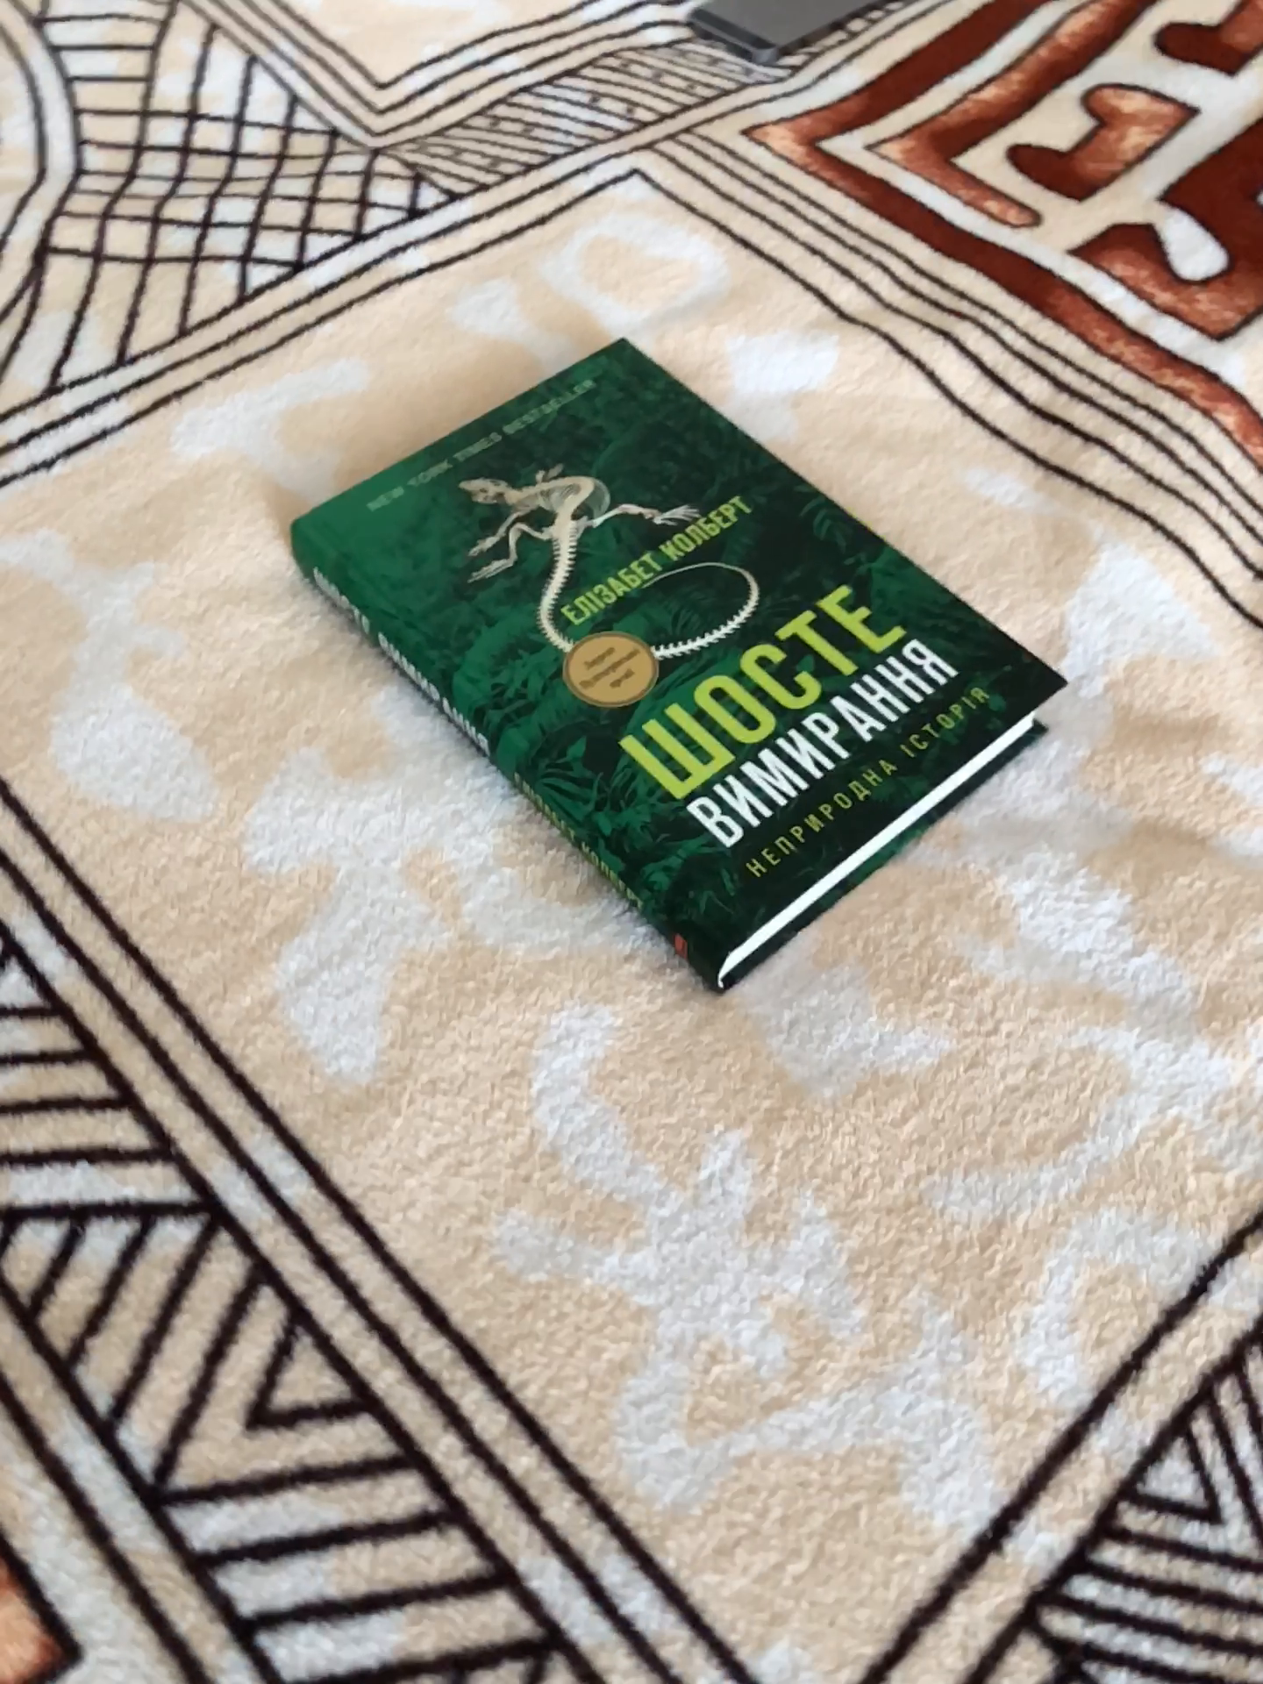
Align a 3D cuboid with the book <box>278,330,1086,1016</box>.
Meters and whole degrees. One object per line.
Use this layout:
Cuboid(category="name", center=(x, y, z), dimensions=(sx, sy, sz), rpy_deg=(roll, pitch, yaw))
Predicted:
Cuboid(category="book", center=(0.011, -0.070, 0.457), dimensions=(0.150, 0.030, 0.221), rpy_deg=(-36, 64, -20))
